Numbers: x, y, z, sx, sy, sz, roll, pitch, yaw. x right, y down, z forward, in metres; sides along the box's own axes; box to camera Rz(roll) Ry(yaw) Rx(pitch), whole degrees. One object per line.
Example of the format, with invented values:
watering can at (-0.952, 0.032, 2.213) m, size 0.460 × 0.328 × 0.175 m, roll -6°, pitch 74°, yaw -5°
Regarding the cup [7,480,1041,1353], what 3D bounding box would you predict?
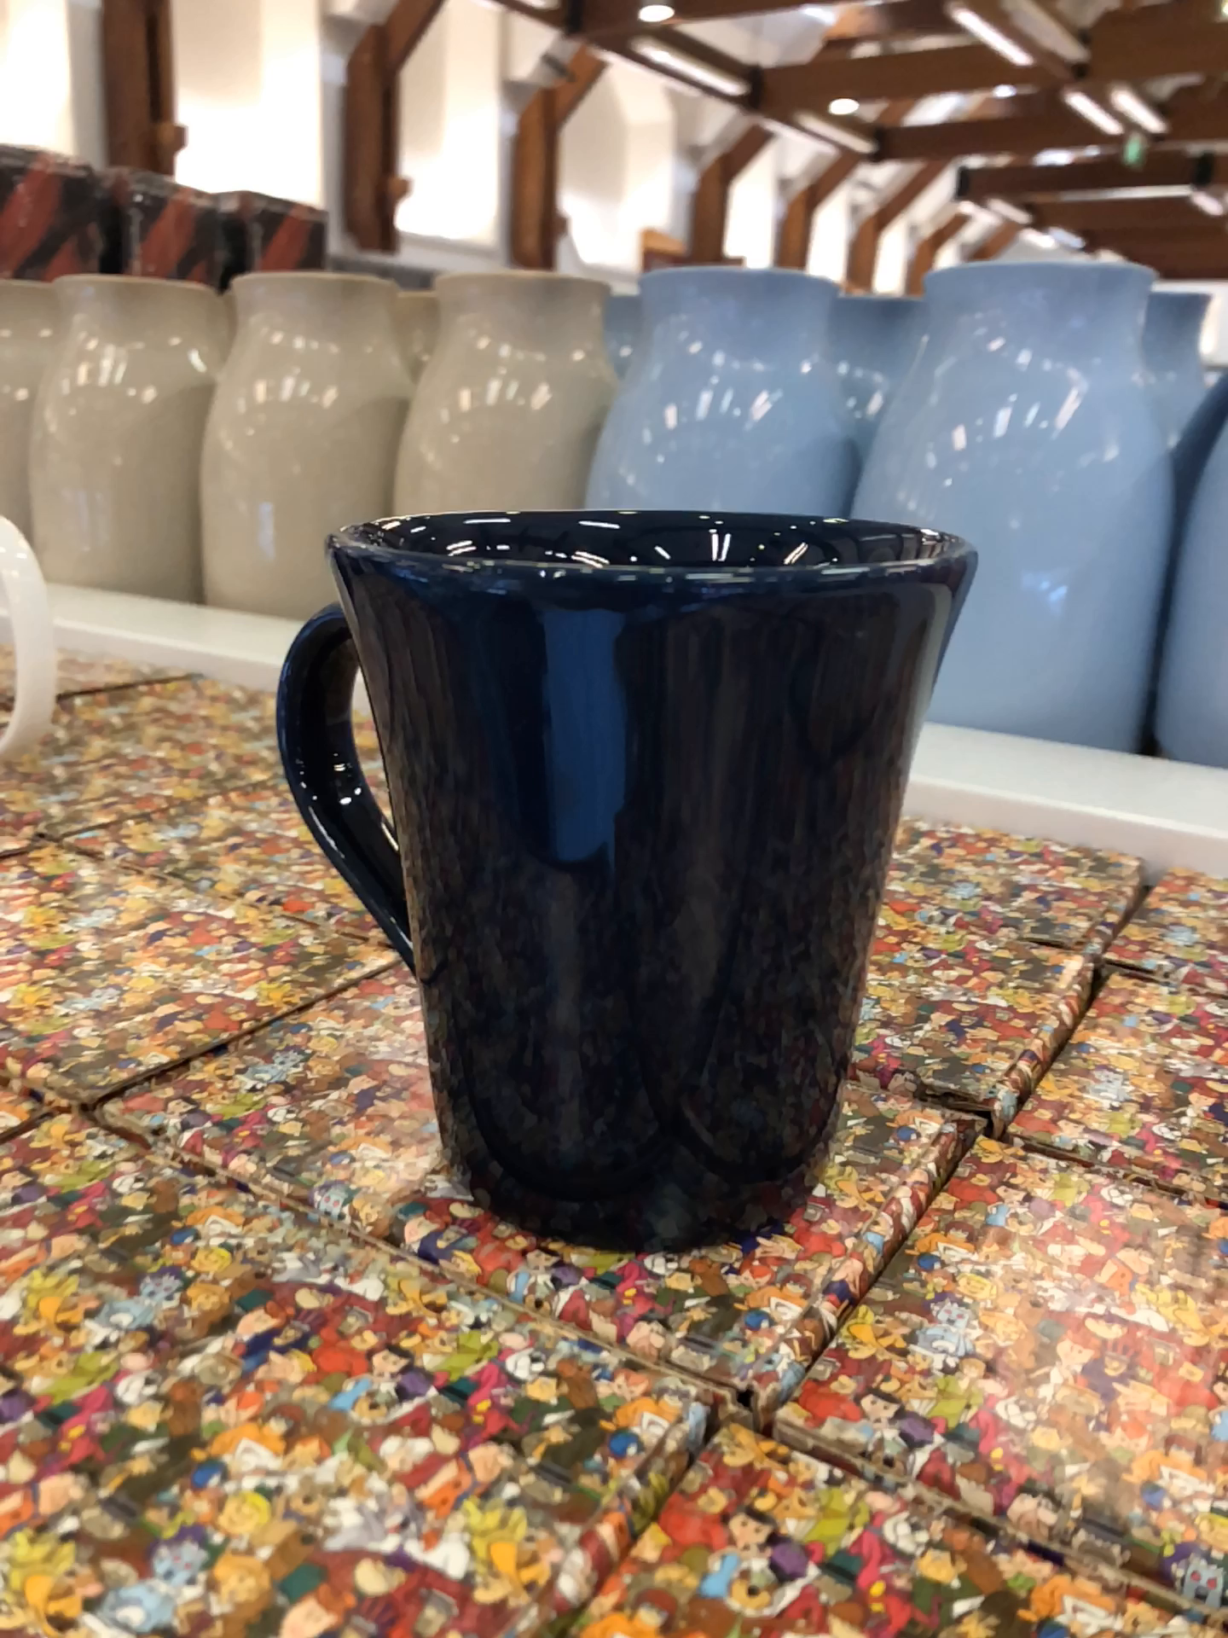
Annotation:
cup at (-0.010, -0.003, 0.218) m, size 0.120 × 0.090 × 0.100 m, roll 11°, pitch 19°, yaw 28°
